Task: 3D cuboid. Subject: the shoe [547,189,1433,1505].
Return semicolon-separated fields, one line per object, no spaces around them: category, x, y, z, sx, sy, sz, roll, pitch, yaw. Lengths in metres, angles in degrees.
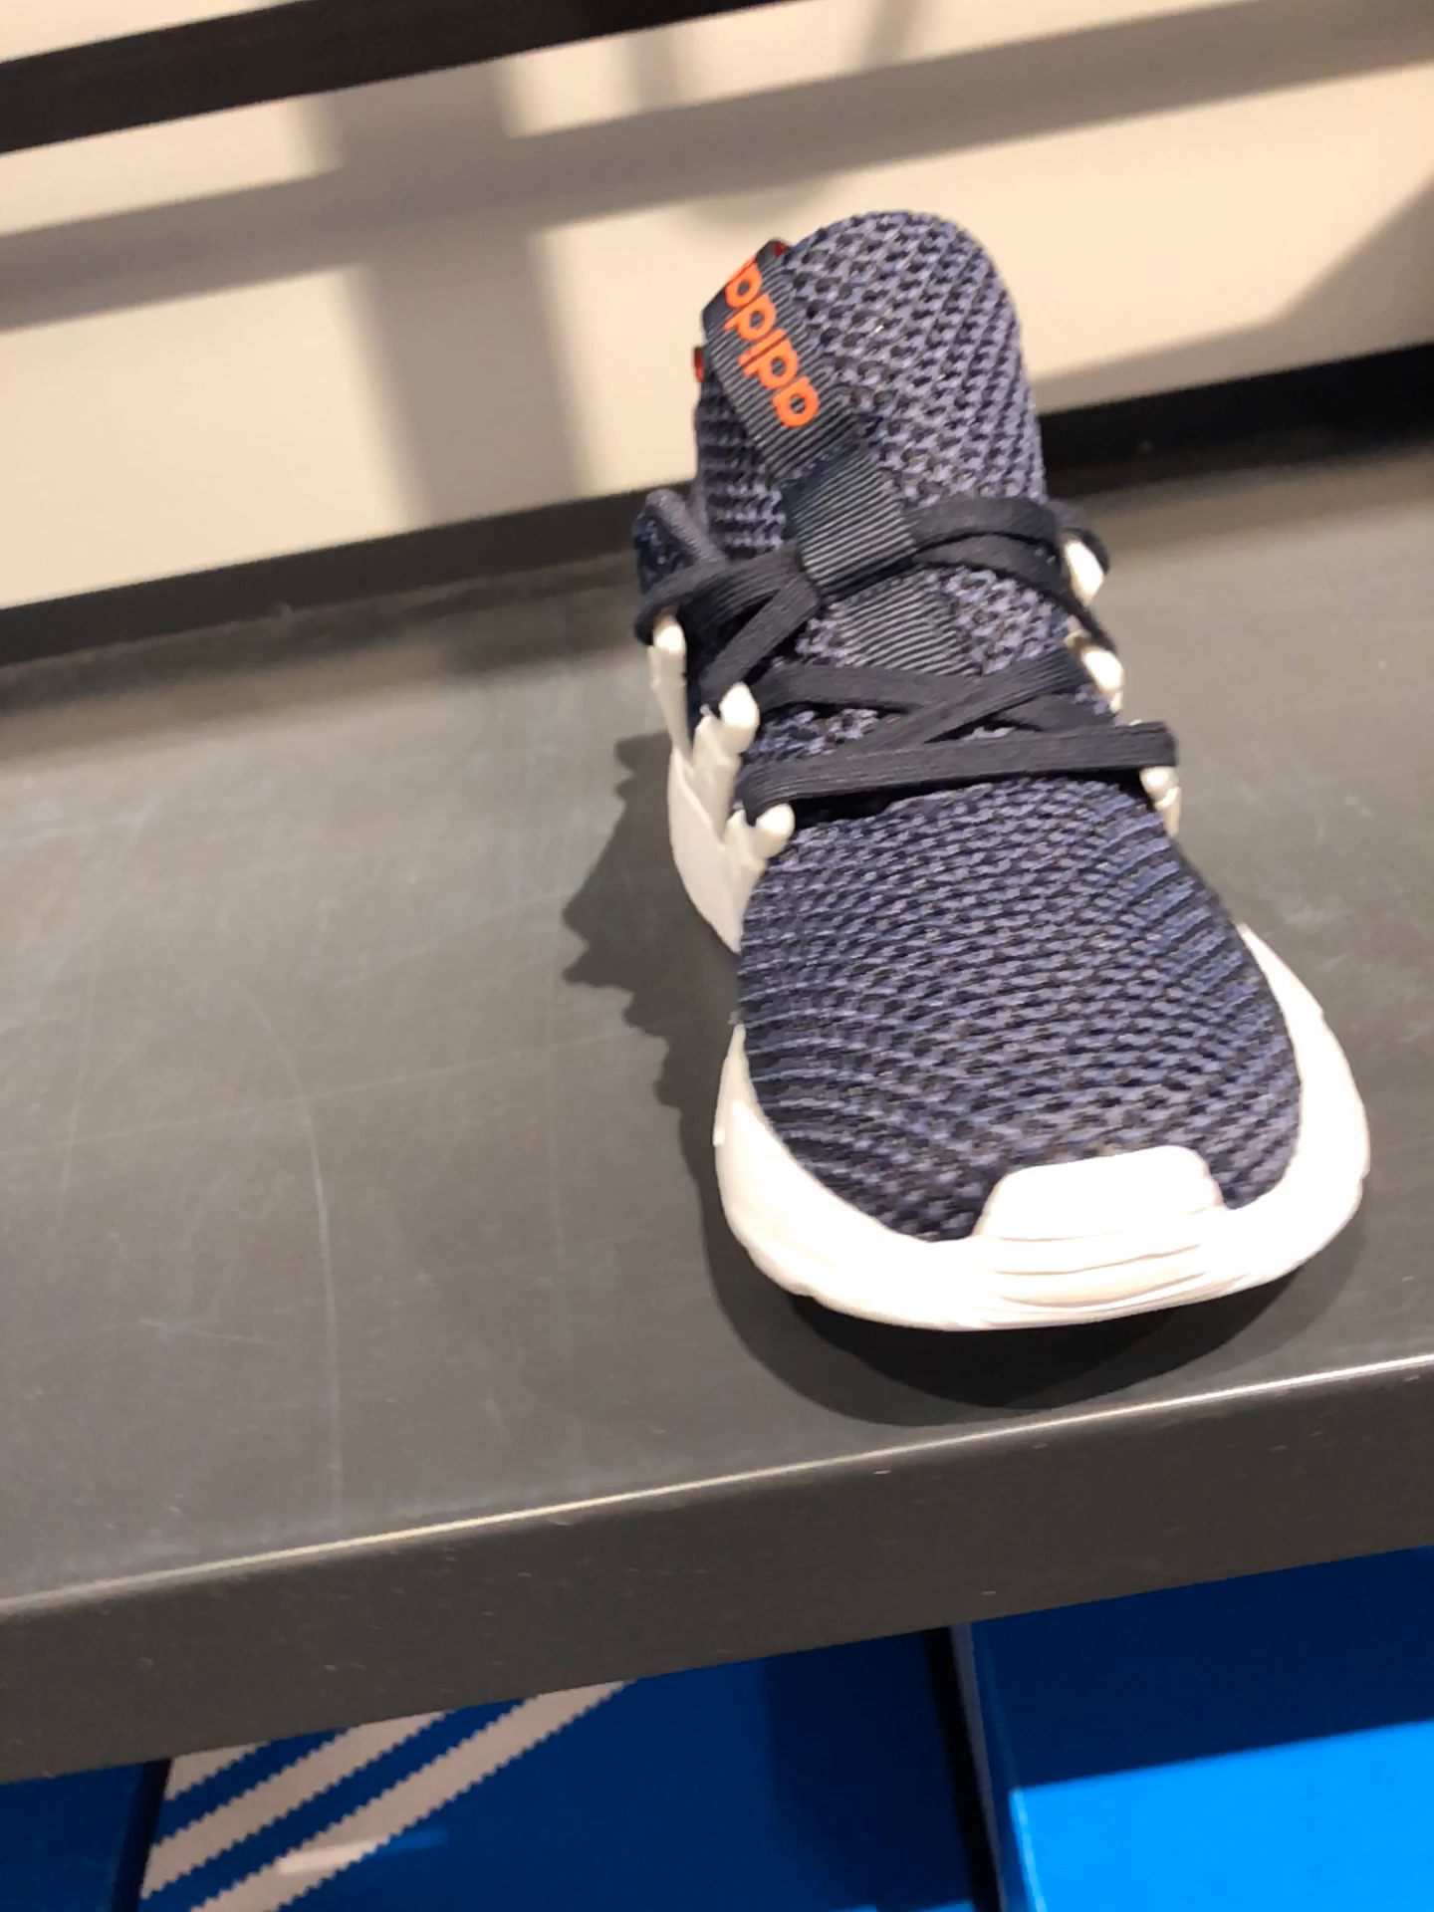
shoe;0.032;-0.041;0.245;0.090;0.110;0.201;-10;29;1
